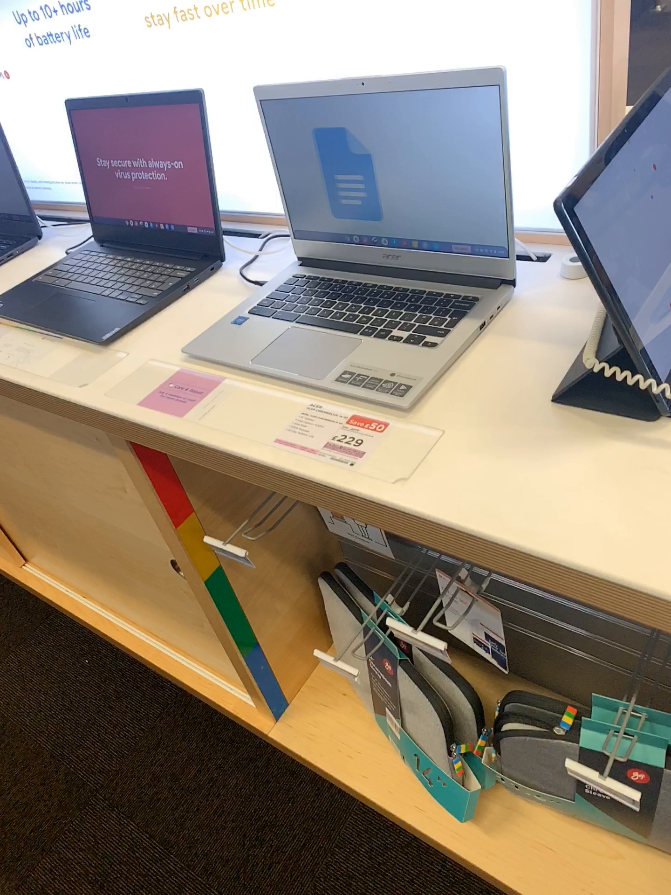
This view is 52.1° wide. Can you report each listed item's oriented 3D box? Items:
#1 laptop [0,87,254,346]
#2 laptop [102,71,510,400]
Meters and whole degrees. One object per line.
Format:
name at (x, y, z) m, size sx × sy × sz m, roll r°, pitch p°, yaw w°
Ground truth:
laptop at (-0.349, -0.333, 0.954) m, size 0.309 × 0.204 × 0.284 m, roll 18°, pitch 51°, yaw 35°
laptop at (-0.016, -0.230, 0.708) m, size 0.304 × 0.206 × 0.238 m, roll 16°, pitch 48°, yaw 33°
